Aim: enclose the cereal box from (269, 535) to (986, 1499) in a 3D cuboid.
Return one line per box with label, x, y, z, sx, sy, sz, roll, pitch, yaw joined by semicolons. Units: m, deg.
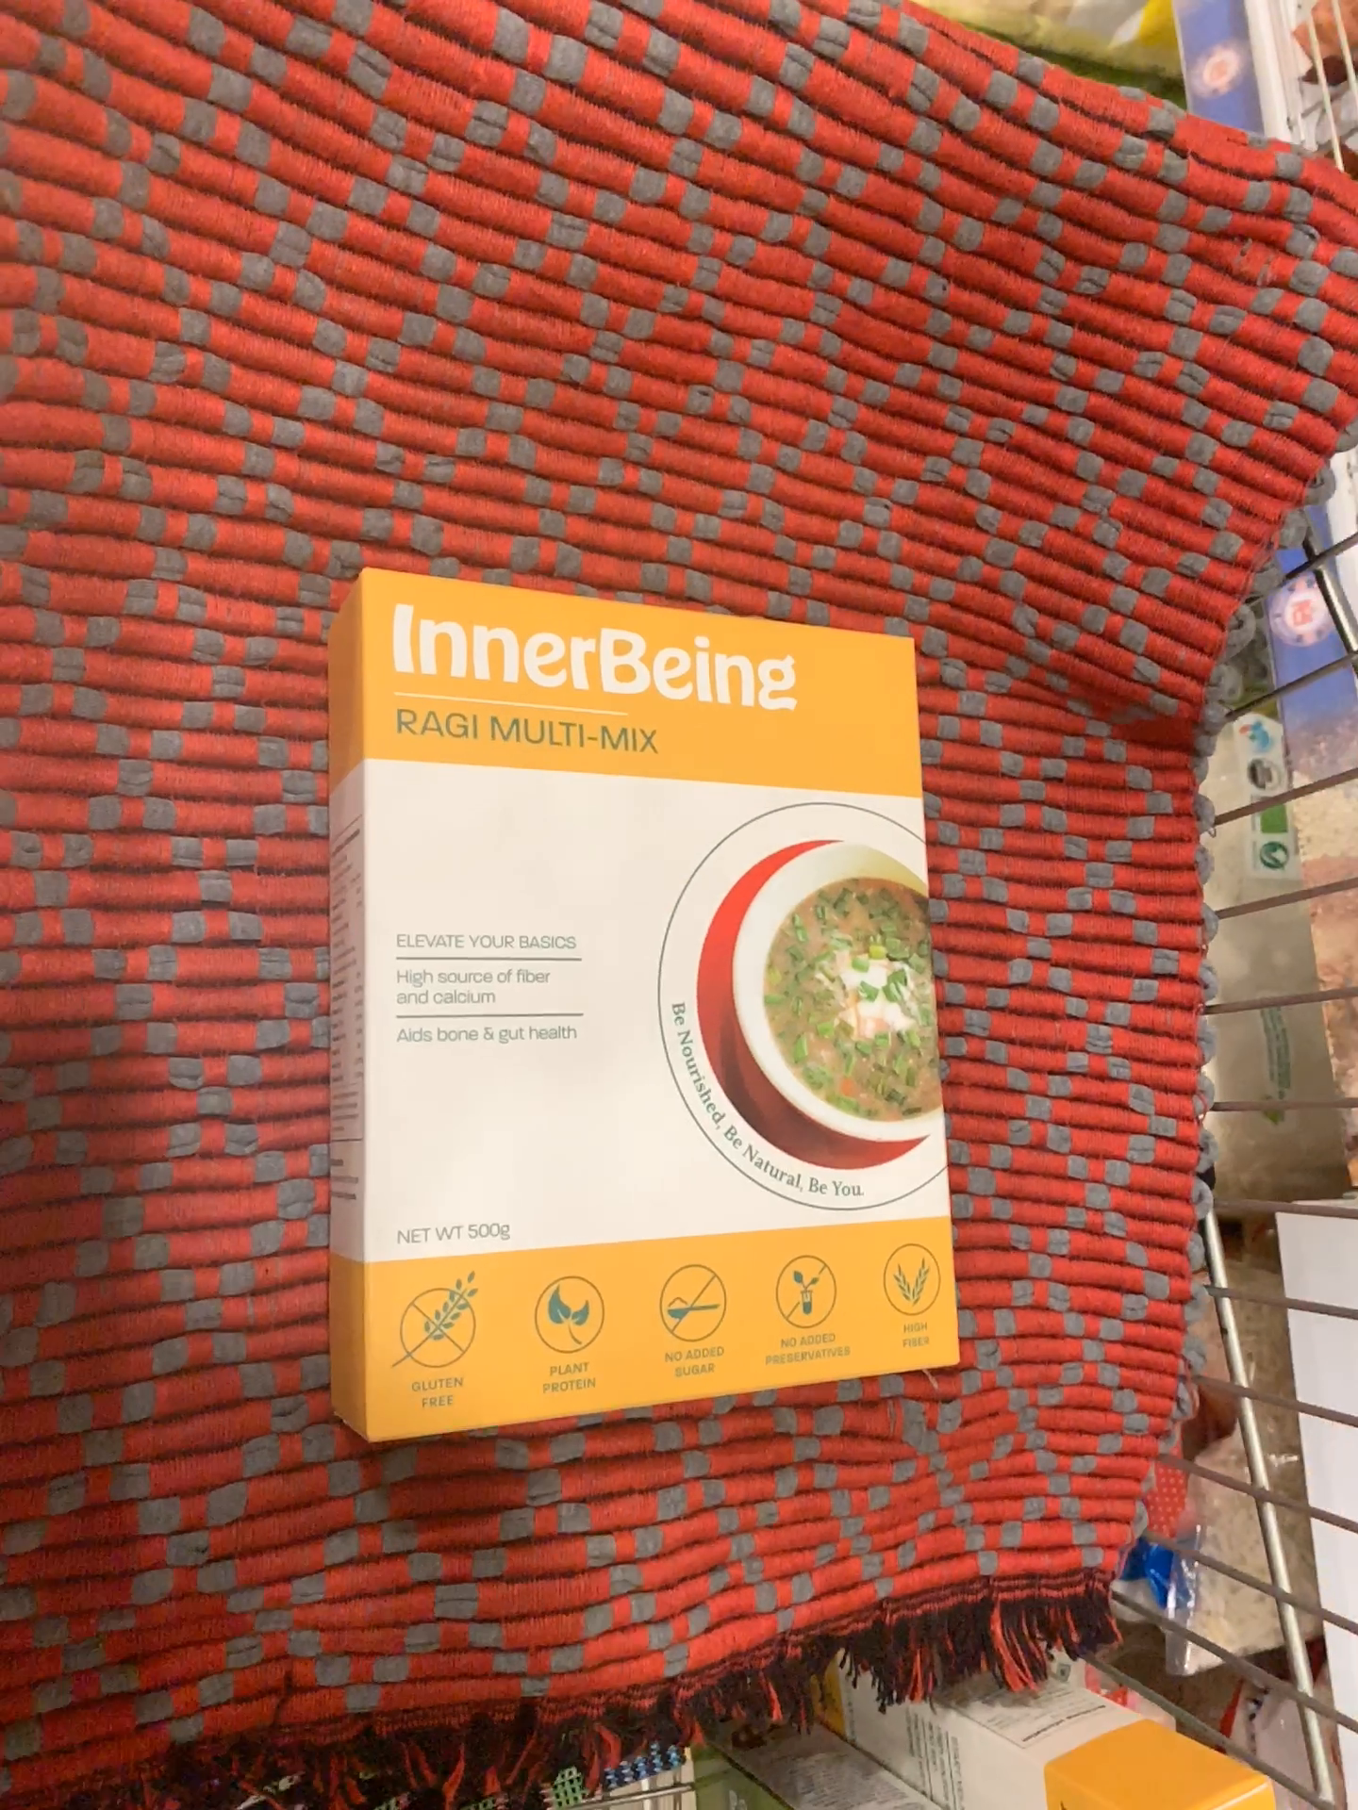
cereal box;-0.016;0.025;0.338;0.150;0.070;0.190;2;80;-25
